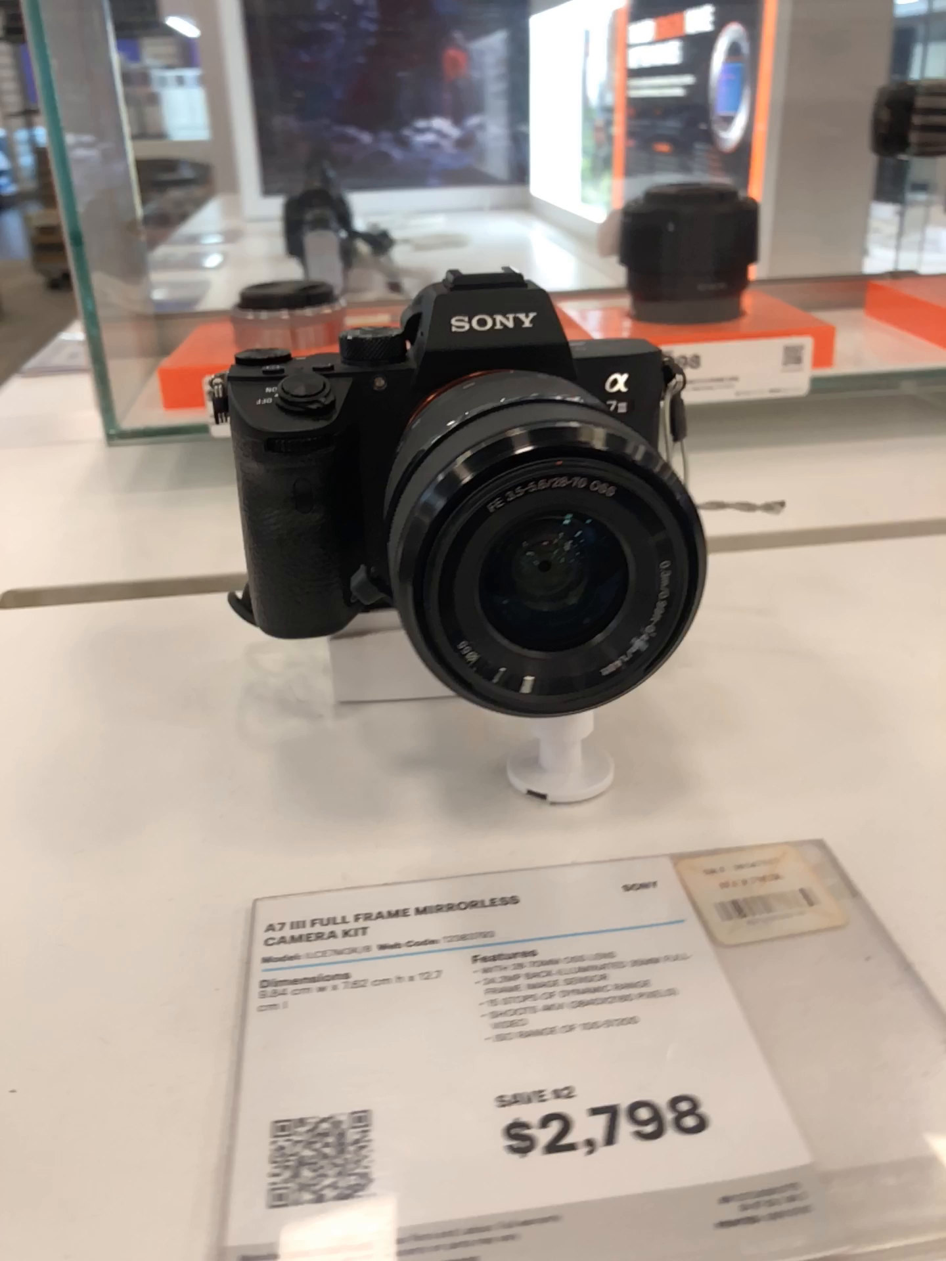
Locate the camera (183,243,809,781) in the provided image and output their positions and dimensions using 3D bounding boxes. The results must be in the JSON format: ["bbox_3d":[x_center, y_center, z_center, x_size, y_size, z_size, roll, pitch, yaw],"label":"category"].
[{"bbox_3d":[-0.002,-0.049,0.311,0.130,0.100,0.161,-5,26,-6],"label":"camera"}]
